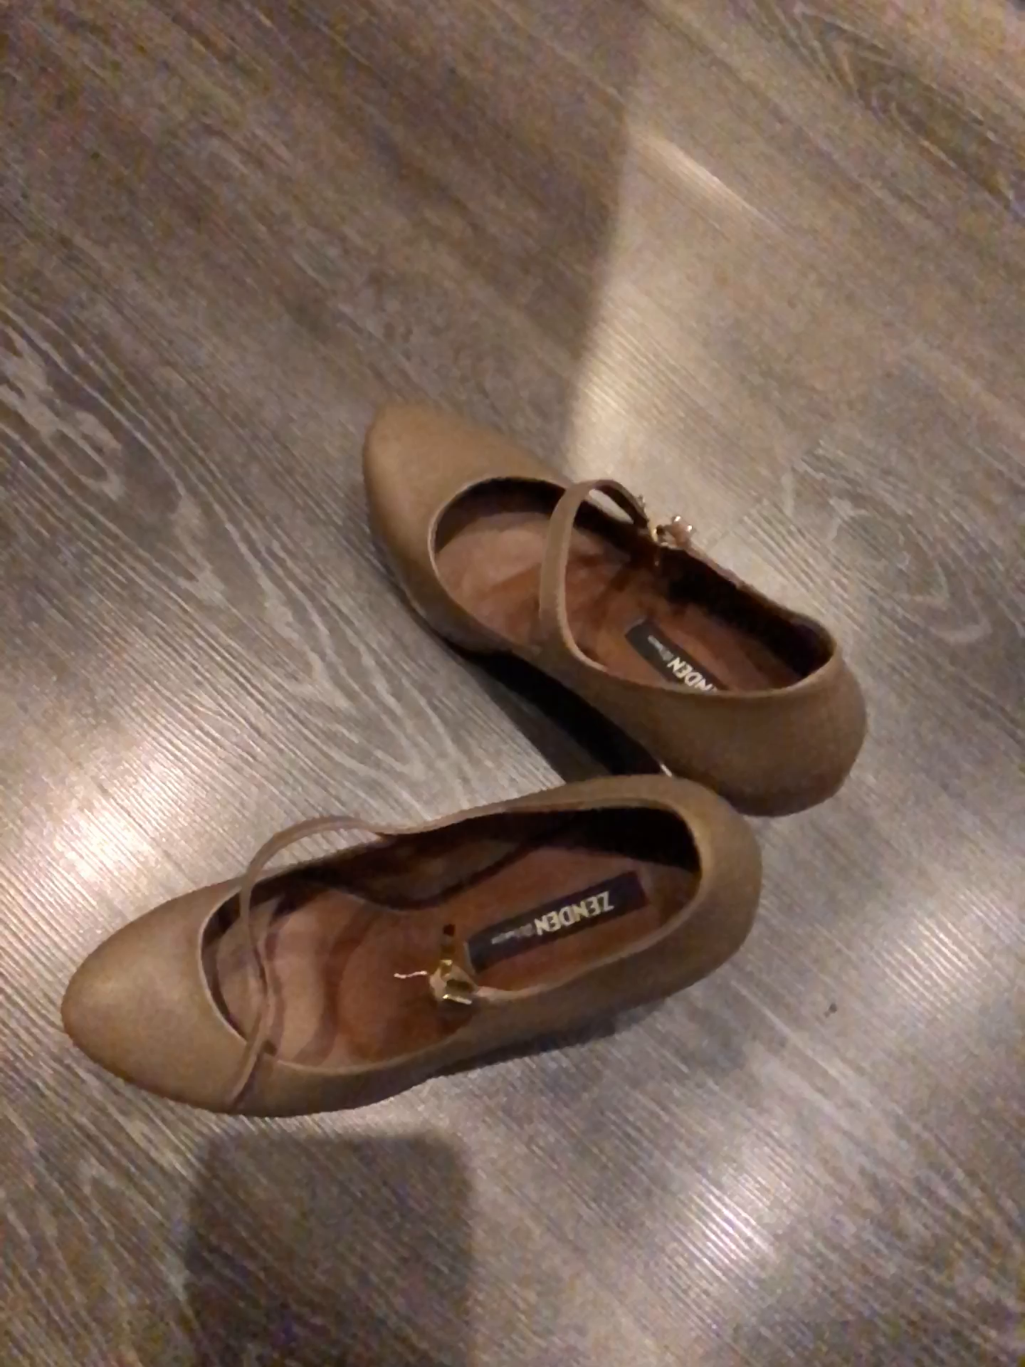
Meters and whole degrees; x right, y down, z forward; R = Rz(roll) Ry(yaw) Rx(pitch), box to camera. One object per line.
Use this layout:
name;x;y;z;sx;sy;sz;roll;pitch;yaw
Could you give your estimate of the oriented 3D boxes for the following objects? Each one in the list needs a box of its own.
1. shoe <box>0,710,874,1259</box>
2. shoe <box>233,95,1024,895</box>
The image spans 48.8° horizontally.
shoe;-0.034;0.084;0.327;0.210;0.150;0.090;-7;74;-6
shoe;0.024;-0.047;0.373;0.090;0.150;0.210;-42;80;-14
